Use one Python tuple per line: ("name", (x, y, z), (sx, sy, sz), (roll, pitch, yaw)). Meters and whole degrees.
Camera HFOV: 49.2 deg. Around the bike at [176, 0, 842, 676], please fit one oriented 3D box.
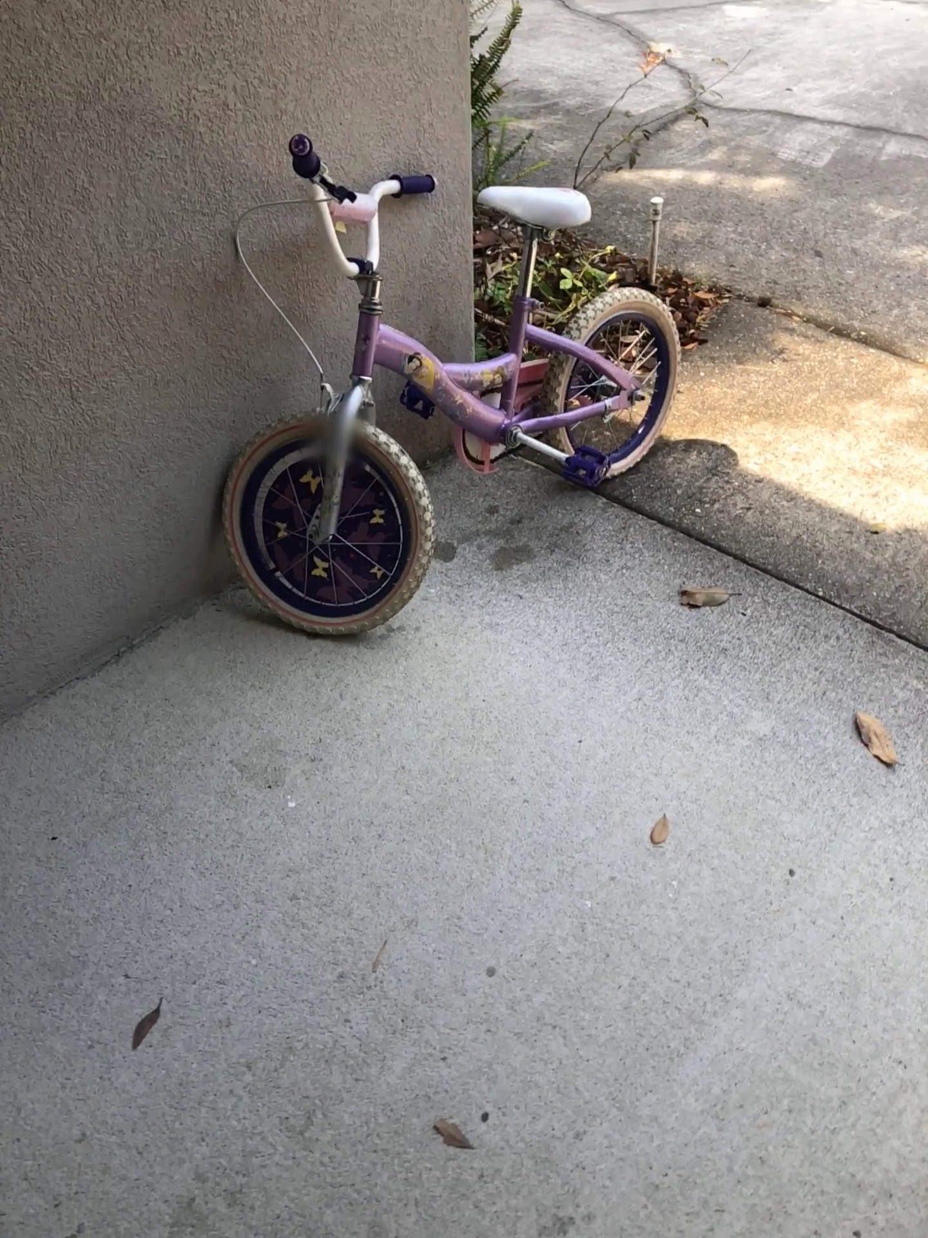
("bike", (0.084, -0.556, 1.841), (0.847, 0.816, 0.618), (-30, 50, -27))
